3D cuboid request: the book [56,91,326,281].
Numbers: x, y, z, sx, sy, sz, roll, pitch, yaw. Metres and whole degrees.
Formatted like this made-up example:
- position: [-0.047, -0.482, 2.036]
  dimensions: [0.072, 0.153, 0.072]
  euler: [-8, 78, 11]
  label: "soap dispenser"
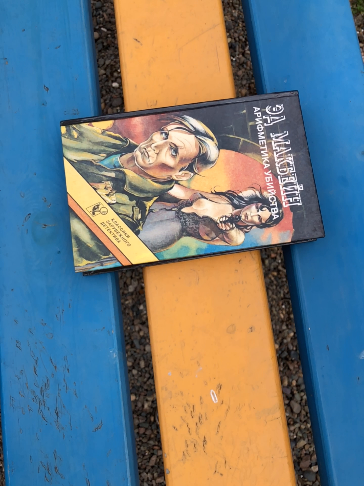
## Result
- position: [0.005, -0.049, 0.353]
  dimensions: [0.210, 0.030, 0.135]
  euler: [-8, 82, -1]
  label: "book"
